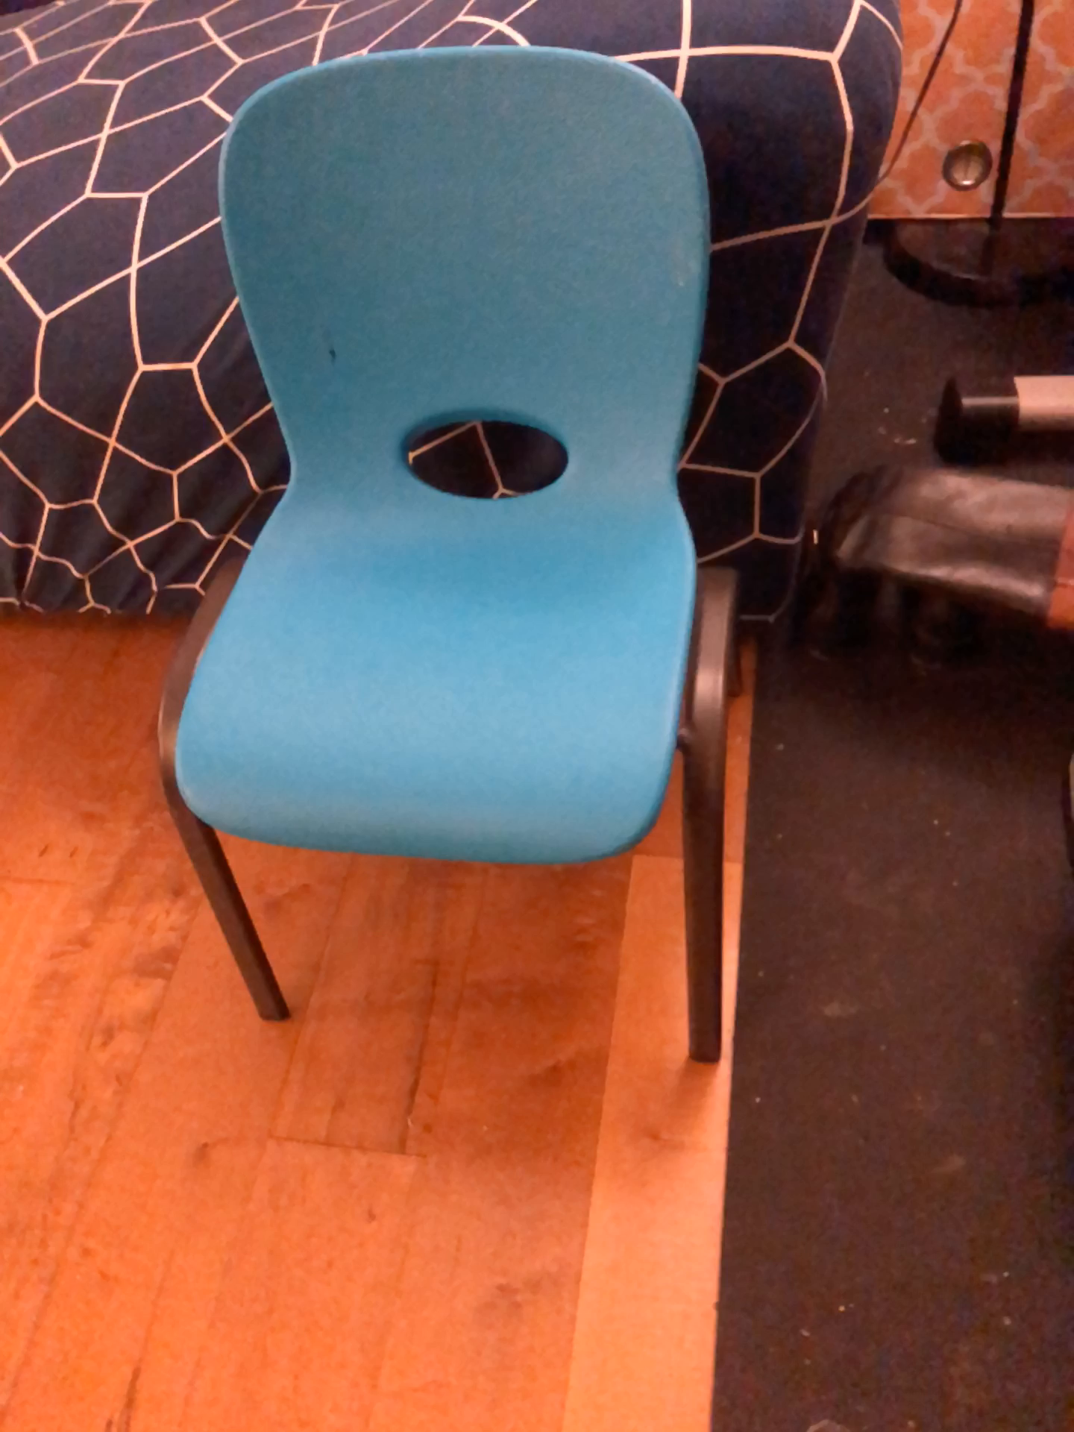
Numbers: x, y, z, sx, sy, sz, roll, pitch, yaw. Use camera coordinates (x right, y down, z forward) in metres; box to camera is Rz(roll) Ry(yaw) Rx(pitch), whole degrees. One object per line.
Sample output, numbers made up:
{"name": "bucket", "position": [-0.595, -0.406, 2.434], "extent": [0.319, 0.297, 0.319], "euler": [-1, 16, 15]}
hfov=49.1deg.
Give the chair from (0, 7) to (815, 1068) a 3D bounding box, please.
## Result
{"name": "chair", "position": [-0.066, -0.083, 0.773], "extent": [0.430, 0.527, 0.402], "euler": [1, 50, 9]}
